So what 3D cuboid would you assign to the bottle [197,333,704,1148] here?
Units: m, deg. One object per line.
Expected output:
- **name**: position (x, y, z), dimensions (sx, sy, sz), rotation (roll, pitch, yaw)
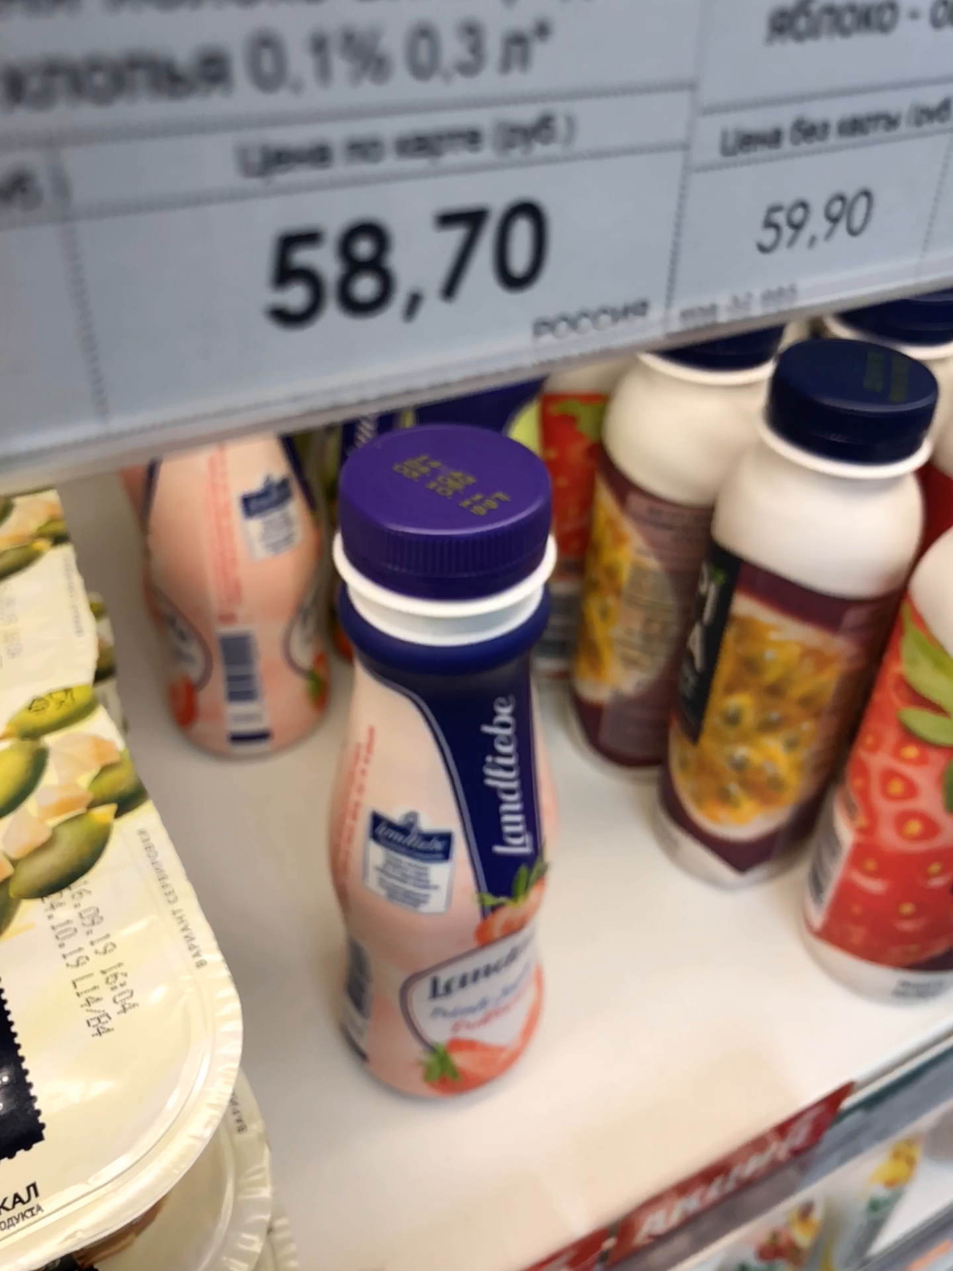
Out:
- **bottle**: position (-0.010, 0.035, 0.264), dimensions (0.070, 0.189, 0.070), rotation (2, 41, -1)
